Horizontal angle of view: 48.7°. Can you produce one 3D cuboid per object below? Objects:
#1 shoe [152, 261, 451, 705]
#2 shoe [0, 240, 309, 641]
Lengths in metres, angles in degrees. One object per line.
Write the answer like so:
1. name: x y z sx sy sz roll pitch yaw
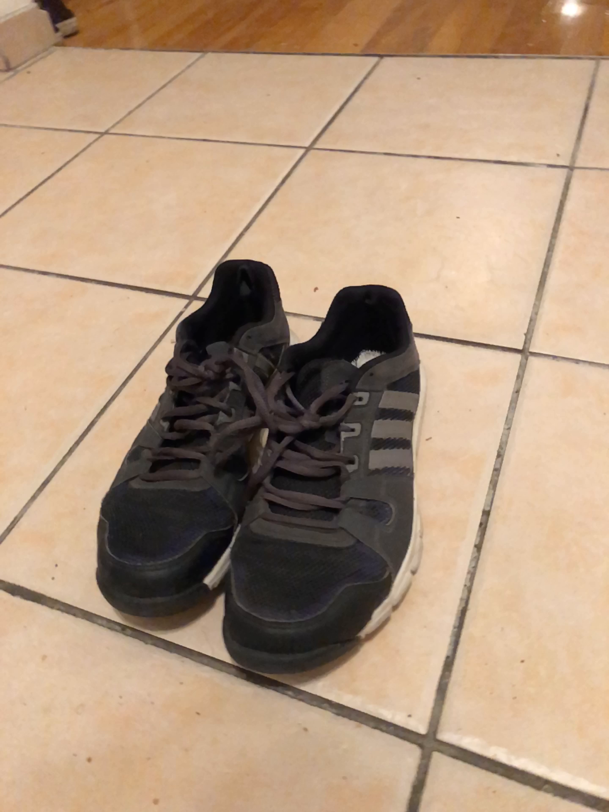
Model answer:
1. shoe: 0.021 0.027 0.451 0.120 0.099 0.282 6 47 15
2. shoe: -0.087 0.004 0.489 0.110 0.099 0.282 9 47 12
